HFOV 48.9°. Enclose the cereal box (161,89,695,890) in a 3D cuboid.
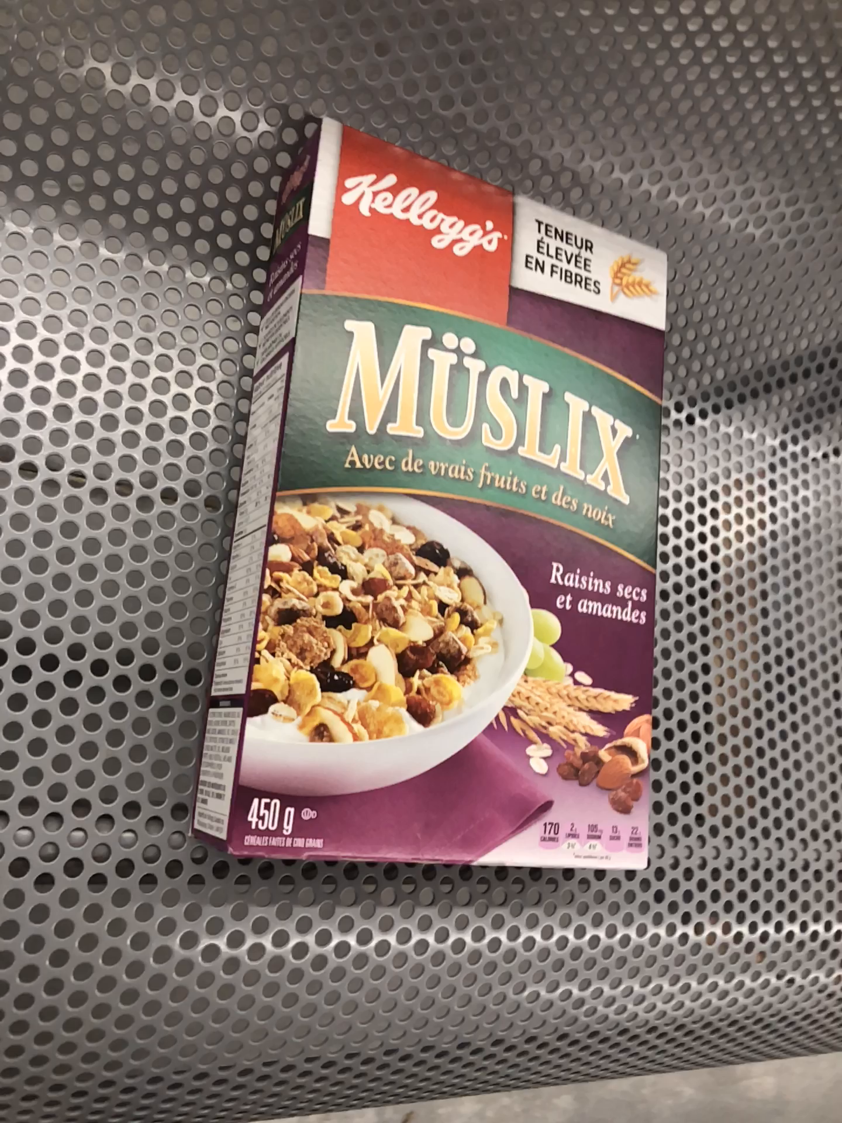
[{"bbox_3d":[0.015,-0.017,0.351,0.180,0.050,0.260,10,76,-25],"label":"cereal box"}]
